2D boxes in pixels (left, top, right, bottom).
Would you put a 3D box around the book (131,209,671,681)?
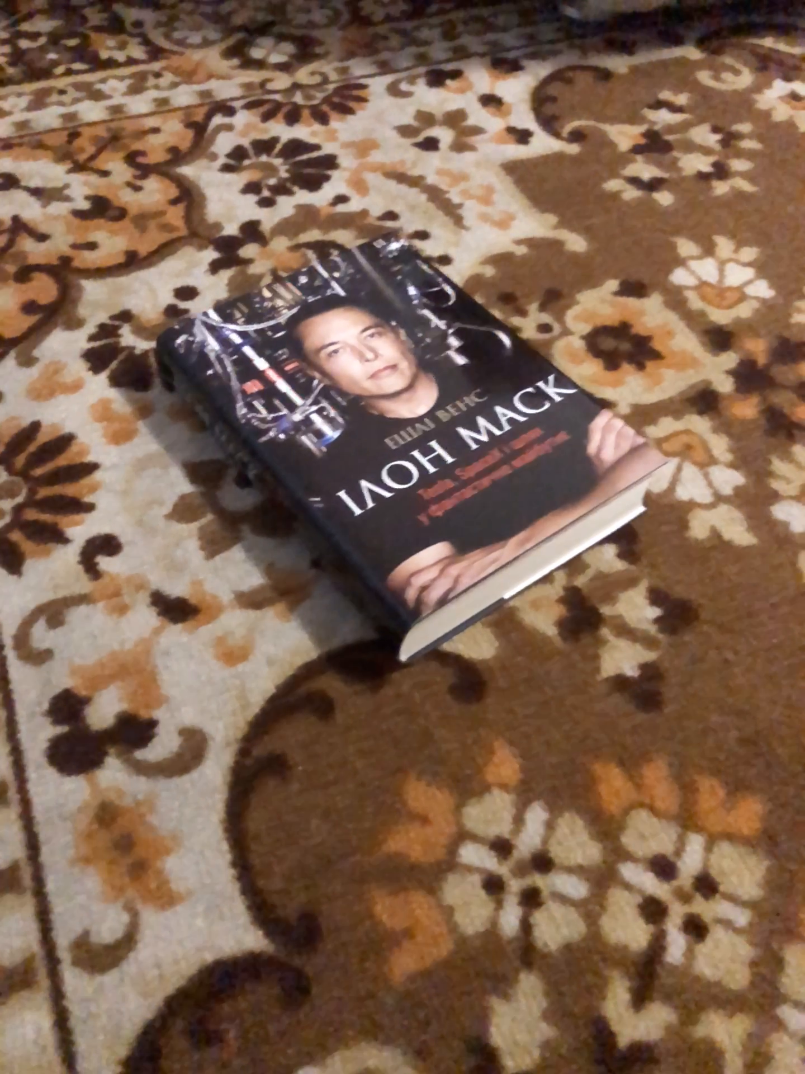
[{"bbox_3d":[-0.009,-0.071,0.505,0.185,0.050,0.251,-29,61,-21],"label":"book"}]
